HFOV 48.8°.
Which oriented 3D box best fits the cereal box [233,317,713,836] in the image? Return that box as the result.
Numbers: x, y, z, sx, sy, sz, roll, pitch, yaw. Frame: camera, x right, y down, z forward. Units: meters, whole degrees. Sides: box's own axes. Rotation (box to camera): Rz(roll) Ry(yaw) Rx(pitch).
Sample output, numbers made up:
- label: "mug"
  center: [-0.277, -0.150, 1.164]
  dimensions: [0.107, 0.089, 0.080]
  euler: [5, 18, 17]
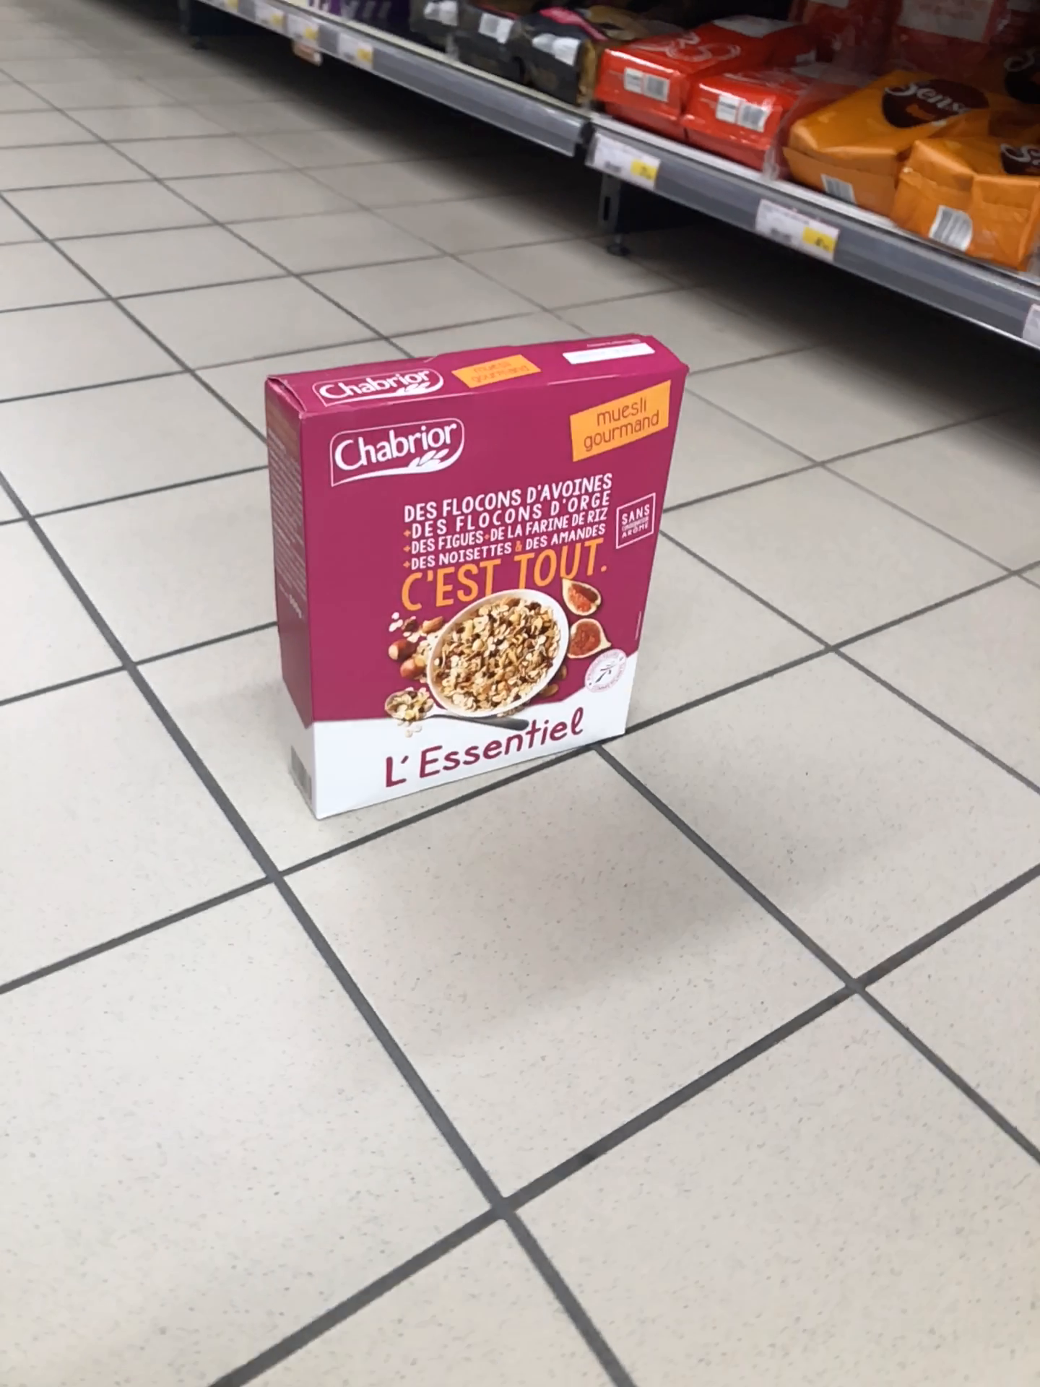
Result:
- label: "cereal box"
  center: [-0.025, -0.058, 0.582]
  dimensions: [0.211, 0.229, 0.060]
  euler: [-14, 41, -24]
